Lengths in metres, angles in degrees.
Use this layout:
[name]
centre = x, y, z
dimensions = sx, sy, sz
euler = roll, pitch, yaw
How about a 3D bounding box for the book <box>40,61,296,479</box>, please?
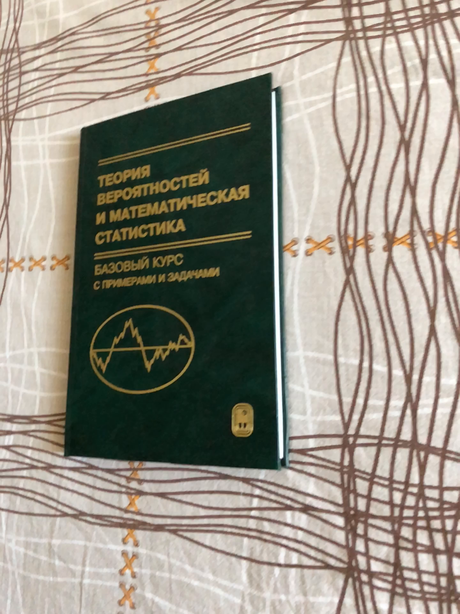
[book]
centre = -0.040, -0.018, 0.303
dimensions = 0.150, 0.030, 0.217
euler = -5, 79, 26
